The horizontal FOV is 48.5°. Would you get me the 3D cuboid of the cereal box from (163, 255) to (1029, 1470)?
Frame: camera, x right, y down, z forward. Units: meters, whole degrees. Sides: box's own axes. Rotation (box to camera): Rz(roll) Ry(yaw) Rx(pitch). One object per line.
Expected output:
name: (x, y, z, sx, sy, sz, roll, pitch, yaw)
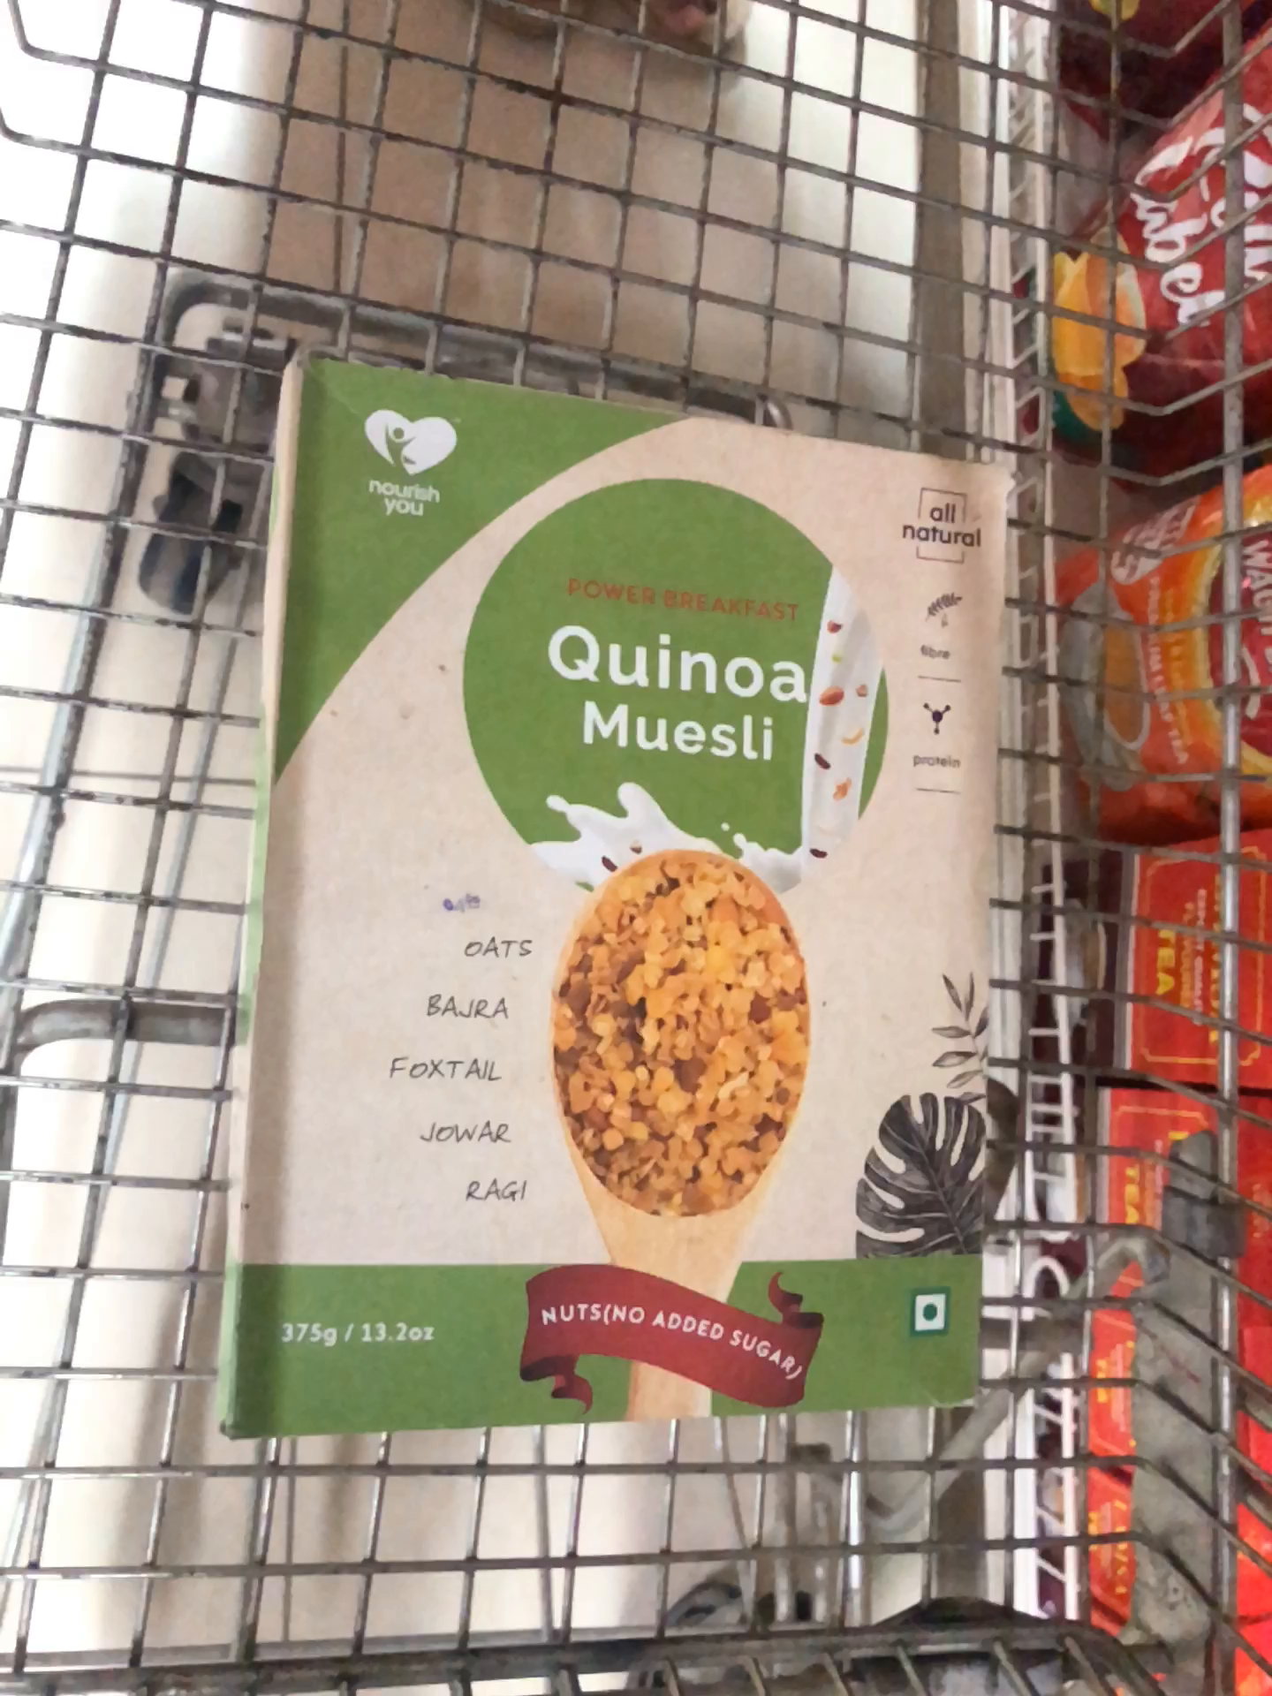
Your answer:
cereal box: (-0.007, 0.006, 0.297, 0.160, 0.060, 0.210, 4, 87, -18)
